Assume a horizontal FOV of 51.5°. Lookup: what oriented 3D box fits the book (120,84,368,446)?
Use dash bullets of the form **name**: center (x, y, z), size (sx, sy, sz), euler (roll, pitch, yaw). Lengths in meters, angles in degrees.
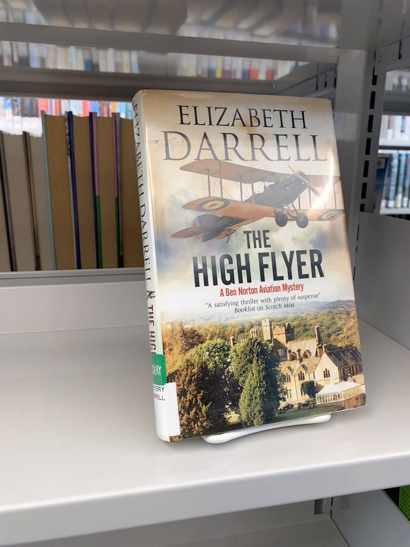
- **book**: center (0.028, -0.012, 0.290), size (0.151, 0.214, 0.031), euler (-4, -3, -19)
